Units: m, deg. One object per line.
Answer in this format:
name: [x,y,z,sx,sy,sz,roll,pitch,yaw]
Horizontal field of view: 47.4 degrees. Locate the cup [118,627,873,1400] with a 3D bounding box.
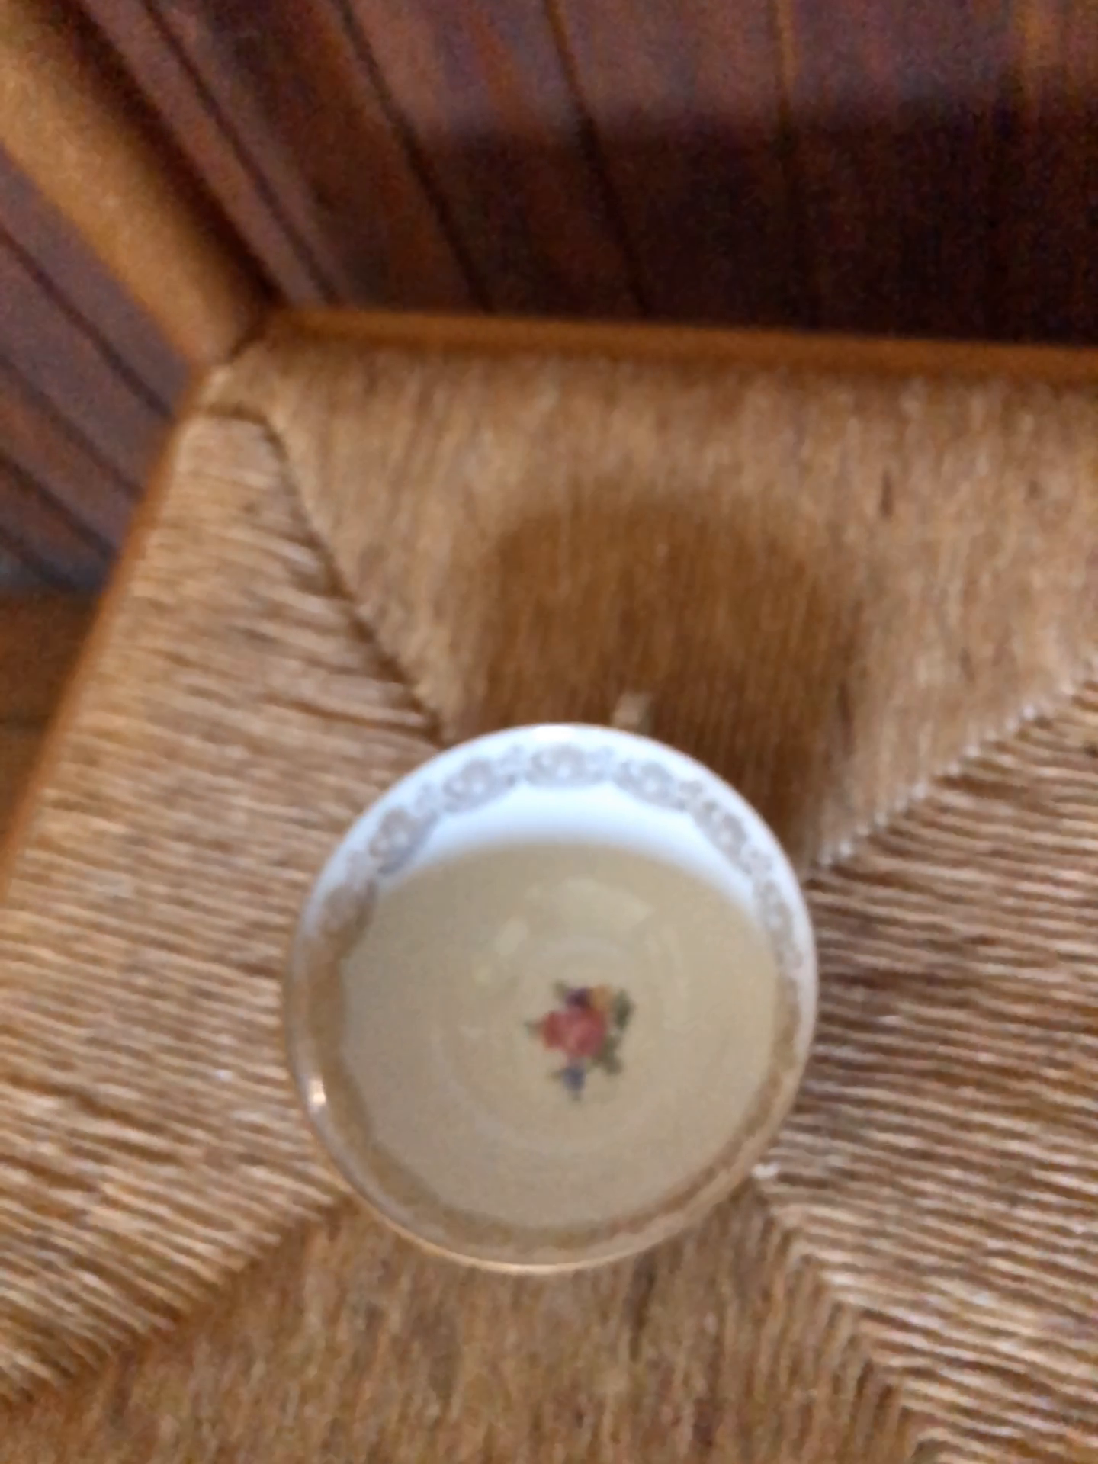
cup: [-0.006,0.054,0.286,0.130,0.040,0.140,-7,62,12]
